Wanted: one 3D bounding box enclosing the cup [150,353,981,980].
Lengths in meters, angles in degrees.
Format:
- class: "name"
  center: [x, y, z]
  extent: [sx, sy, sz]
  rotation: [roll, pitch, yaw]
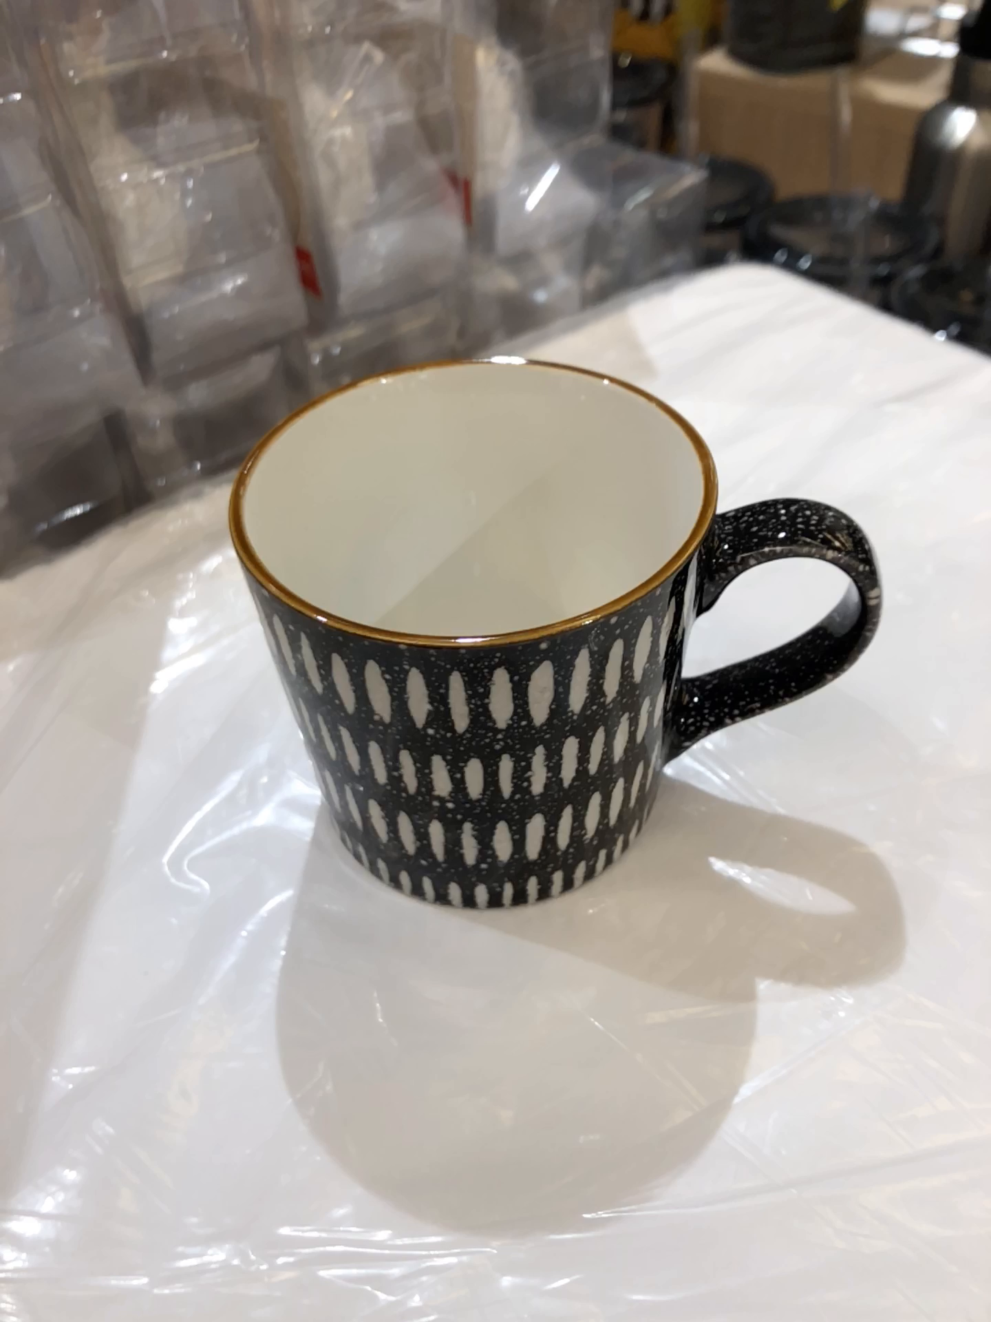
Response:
- class: "cup"
  center: [0.011, 0.001, 0.205]
  extent: [0.110, 0.080, 0.080]
  rotation: [-1, 43, 3]
